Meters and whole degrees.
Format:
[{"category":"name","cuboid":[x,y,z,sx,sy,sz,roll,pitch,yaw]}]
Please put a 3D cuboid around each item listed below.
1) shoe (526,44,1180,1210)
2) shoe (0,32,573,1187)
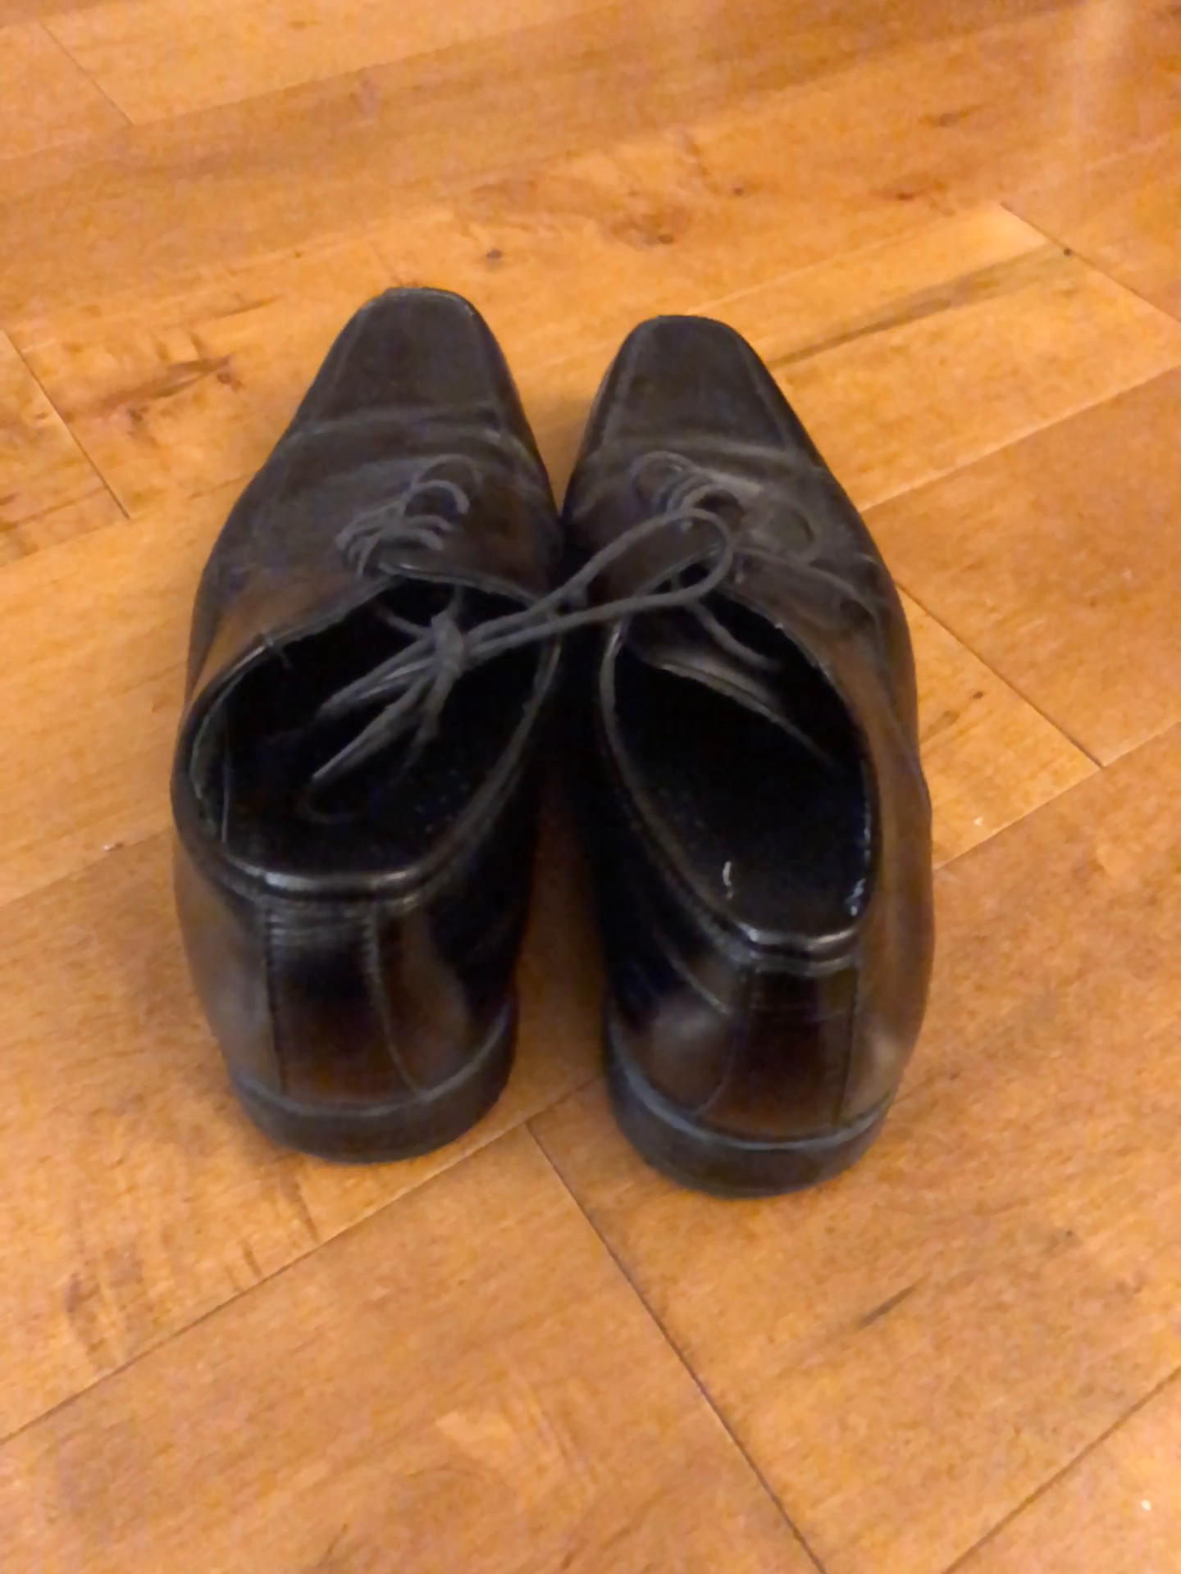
[{"category":"shoe","cuboid":[0.042,-0.063,0.351,0.110,0.129,0.312,0,52,-1]},{"category":"shoe","cuboid":[-0.061,-0.067,0.354,0.110,0.129,0.312,0,52,-1]}]
